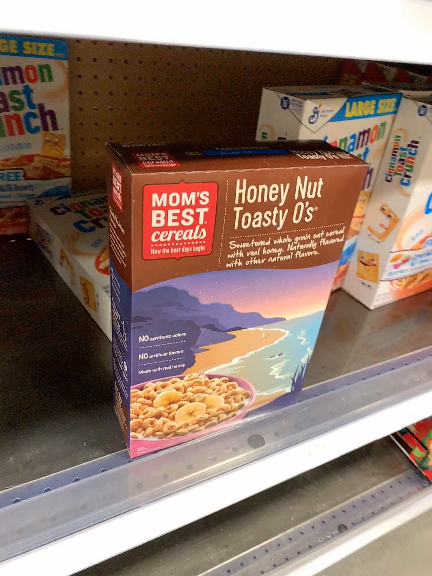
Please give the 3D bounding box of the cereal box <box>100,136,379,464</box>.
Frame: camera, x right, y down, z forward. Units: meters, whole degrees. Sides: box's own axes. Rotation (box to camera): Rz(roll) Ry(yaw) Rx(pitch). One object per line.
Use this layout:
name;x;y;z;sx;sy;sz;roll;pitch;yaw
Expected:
cereal box;0.007;0.014;0.407;0.200;0.279;0.070;-10;36;-24
